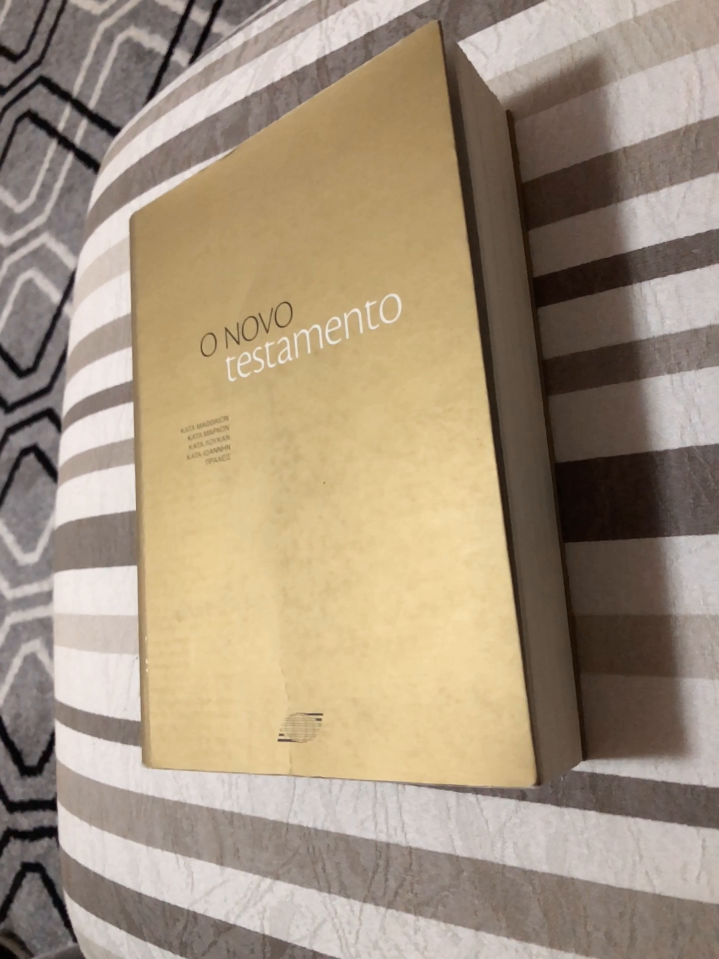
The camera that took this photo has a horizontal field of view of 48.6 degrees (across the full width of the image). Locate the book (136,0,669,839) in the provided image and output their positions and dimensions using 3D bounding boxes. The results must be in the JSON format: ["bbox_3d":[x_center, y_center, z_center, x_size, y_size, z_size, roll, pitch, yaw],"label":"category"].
[{"bbox_3d":[-0.002,-0.017,0.266,0.161,0.050,0.230,-11,76,34],"label":"book"}]
